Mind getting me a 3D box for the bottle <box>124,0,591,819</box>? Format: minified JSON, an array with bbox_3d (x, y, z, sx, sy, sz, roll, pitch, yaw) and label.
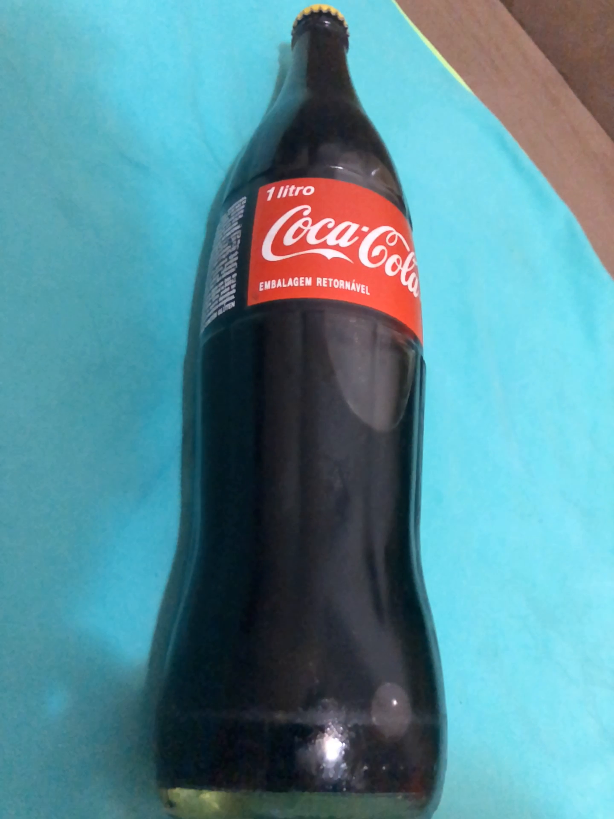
[{"bbox_3d":[0.016,-0.043,0.255,0.100,0.070,0.361,17,60,-31],"label":"bottle"}]
